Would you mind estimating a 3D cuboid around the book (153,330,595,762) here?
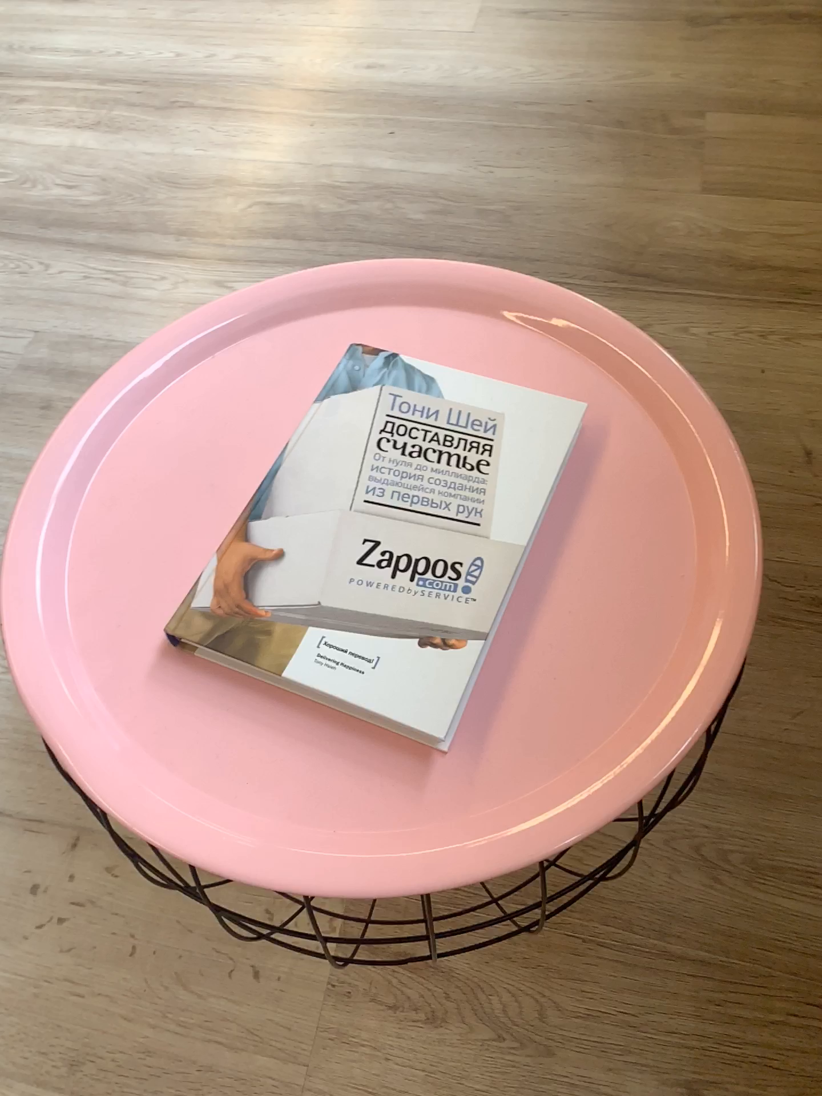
[{"bbox_3d":[-0.012,-0.017,0.492,0.170,0.030,0.232,19,62,16],"label":"book"}]
